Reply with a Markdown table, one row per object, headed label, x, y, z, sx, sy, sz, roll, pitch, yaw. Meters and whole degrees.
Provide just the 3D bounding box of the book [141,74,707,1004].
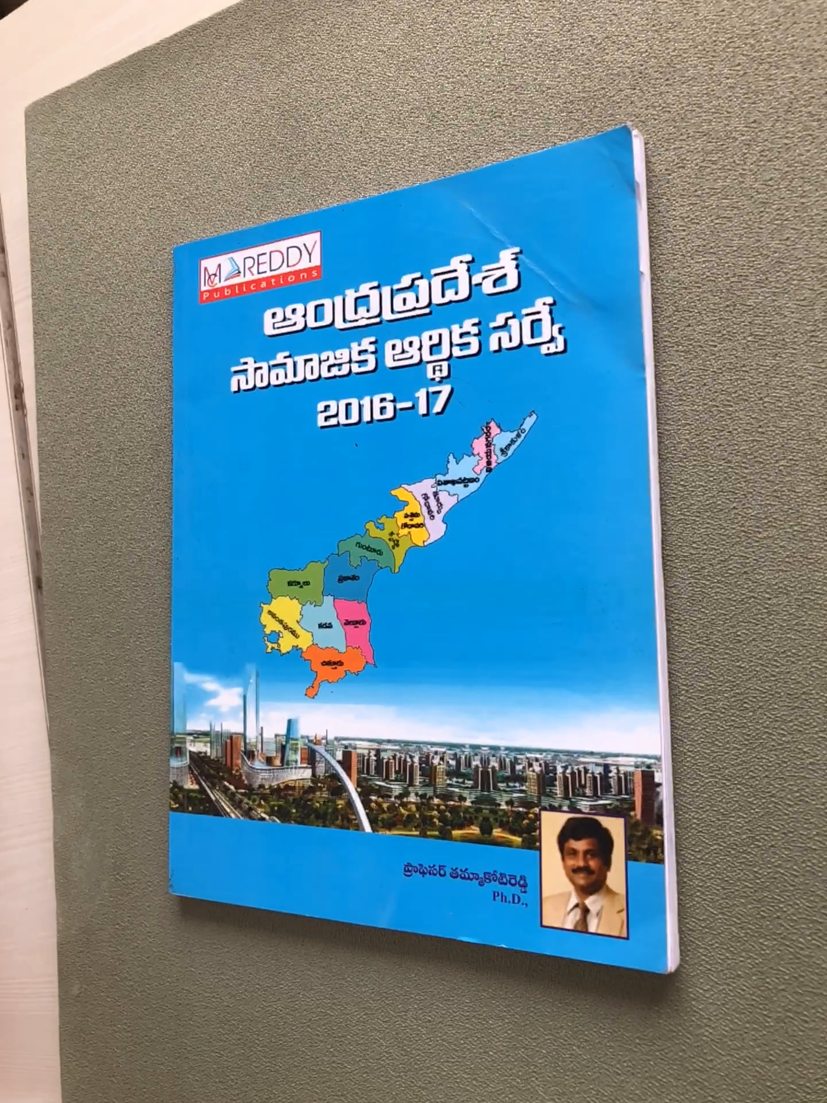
| label | x | y | z | sx | sy | sz | roll | pitch | yaw |
| --- | --- | --- | --- | --- | --- | --- | --- | --- | --- |
| book | -0.009 | -0.003 | 0.286 | 0.180 | 0.020 | 0.240 | -3 | 85 | 27 |
